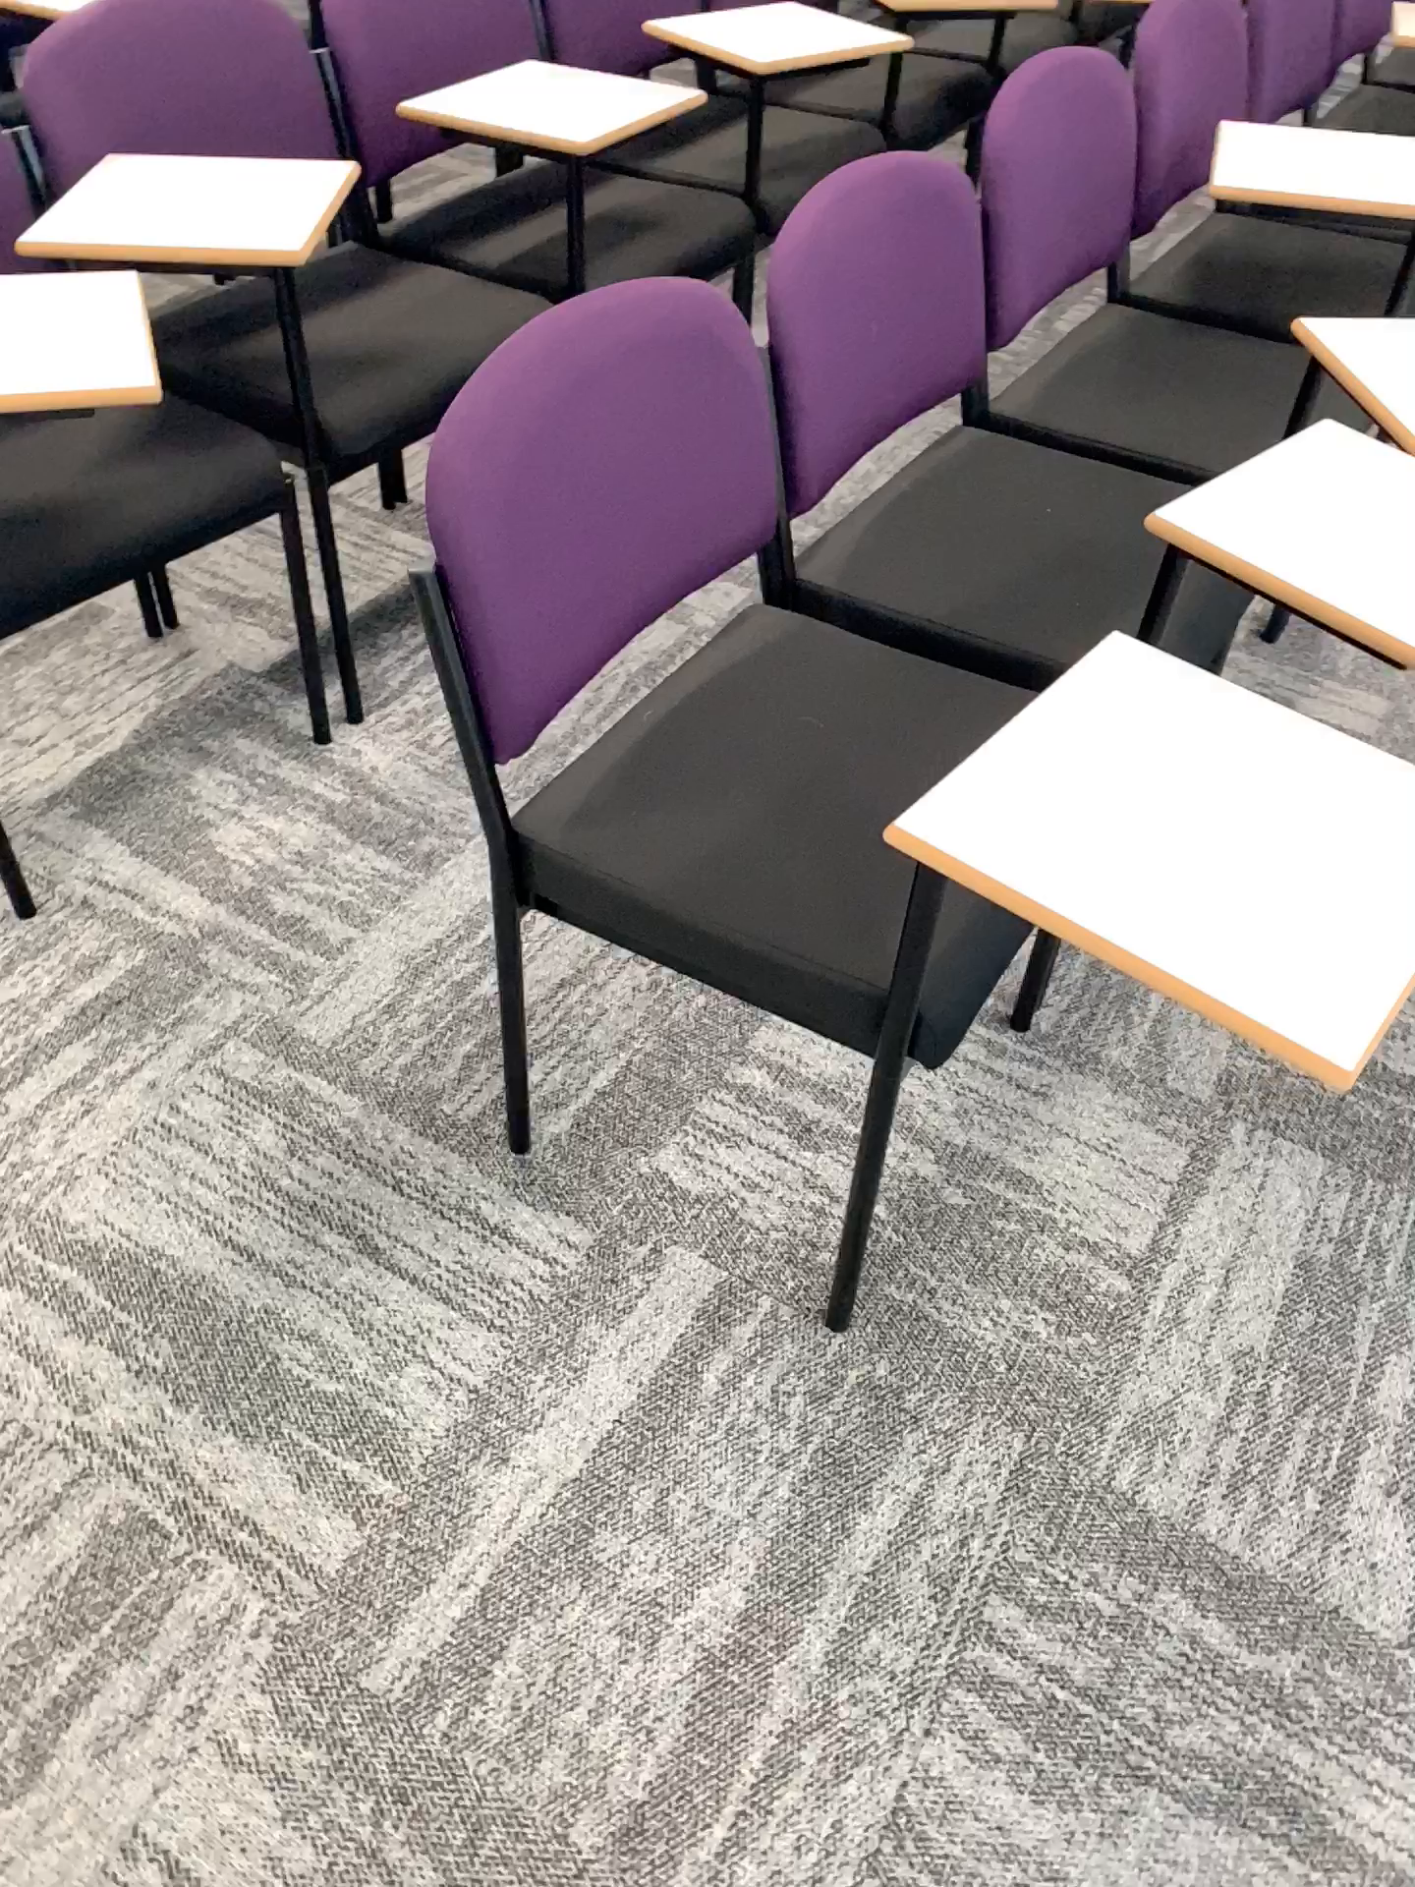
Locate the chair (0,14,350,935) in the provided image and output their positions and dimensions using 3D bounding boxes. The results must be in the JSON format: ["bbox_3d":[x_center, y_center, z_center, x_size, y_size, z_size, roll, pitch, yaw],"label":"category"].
[{"bbox_3d":[-0.844,-0.549,1.707,0.503,0.801,0.518,30,50,24],"label":"chair"}]

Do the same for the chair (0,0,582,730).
[{"bbox_3d":[-0.541,-0.835,2.023,0.502,0.782,0.519,28,50,23],"label":"chair"}]

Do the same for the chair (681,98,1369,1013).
[{"bbox_3d":[0.326,-0.447,1.691,0.492,0.791,0.519,24,48,20],"label":"chair"}]

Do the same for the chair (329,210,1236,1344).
[{"bbox_3d":[0.063,-0.146,1.366,0.502,0.801,0.519,24,48,20],"label":"chair"}]

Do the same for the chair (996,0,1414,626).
[{"bbox_3d":[0.875,-1.056,2.342,0.502,0.791,0.519,24,48,20],"label":"chair"}]

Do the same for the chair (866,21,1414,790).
[{"bbox_3d":[0.600,-0.747,2.018,0.482,0.791,0.519,24,48,20],"label":"chair"}]

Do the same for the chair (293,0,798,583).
[{"bbox_3d":[-0.239,-1.129,2.326,0.502,0.801,0.518,29,50,23],"label":"chair"}]
